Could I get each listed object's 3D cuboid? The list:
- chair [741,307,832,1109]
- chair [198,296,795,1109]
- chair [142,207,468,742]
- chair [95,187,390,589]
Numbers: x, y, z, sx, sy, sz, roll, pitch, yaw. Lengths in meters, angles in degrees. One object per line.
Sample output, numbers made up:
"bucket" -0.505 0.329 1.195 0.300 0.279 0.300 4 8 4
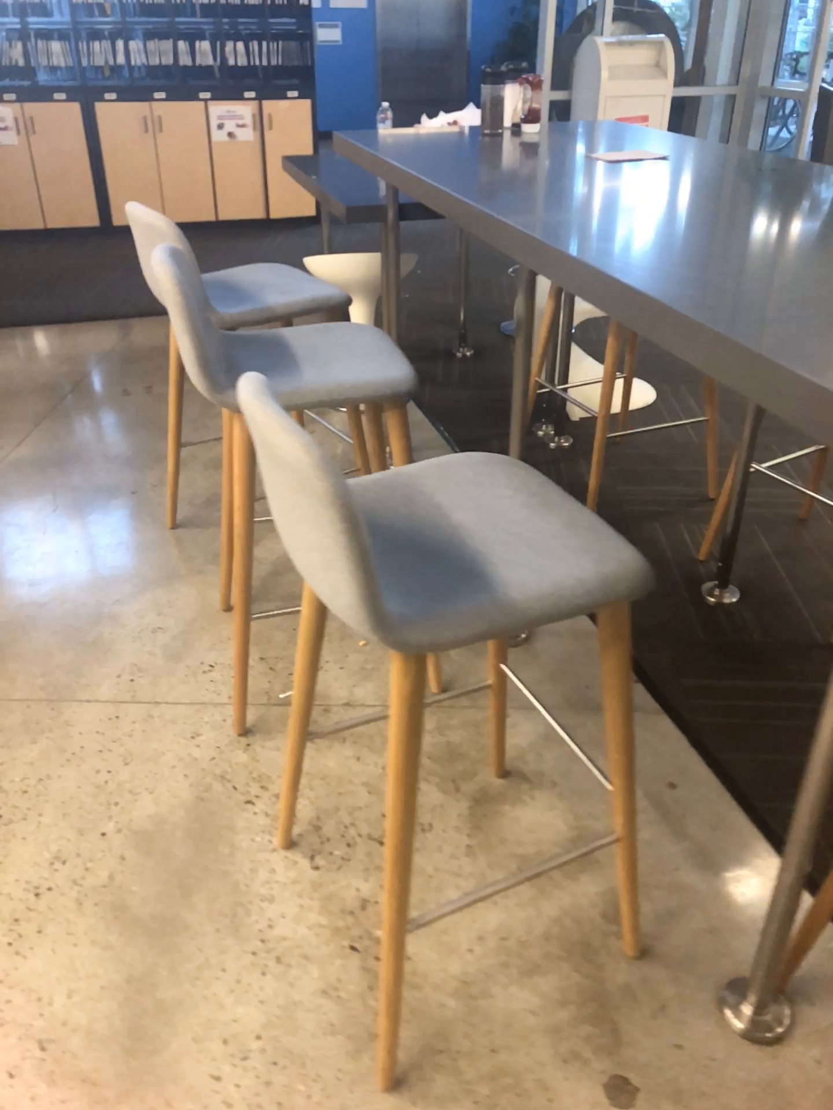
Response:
"chair" 0.804 0.307 1.021 0.500 0.982 0.665 -1 30 -1
"chair" 0.074 0.203 1.358 0.542 0.982 0.502 -16 33 -25
"chair" -0.231 -0.199 1.993 0.541 0.983 0.503 -9 27 -16
"chair" -0.445 -0.474 2.454 0.512 0.893 0.491 -19 31 -30
